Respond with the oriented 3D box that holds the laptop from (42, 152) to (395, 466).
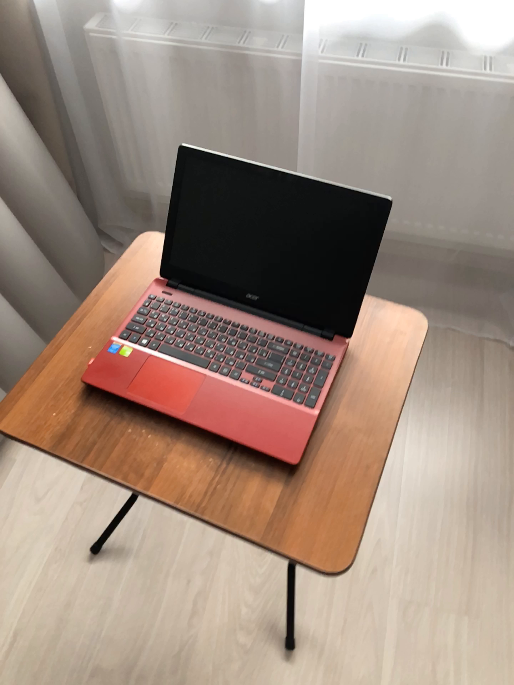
[{"bbox_3d":[-0.036,-0.075,0.893,0.372,0.191,0.382,19,55,16],"label":"laptop"}]
